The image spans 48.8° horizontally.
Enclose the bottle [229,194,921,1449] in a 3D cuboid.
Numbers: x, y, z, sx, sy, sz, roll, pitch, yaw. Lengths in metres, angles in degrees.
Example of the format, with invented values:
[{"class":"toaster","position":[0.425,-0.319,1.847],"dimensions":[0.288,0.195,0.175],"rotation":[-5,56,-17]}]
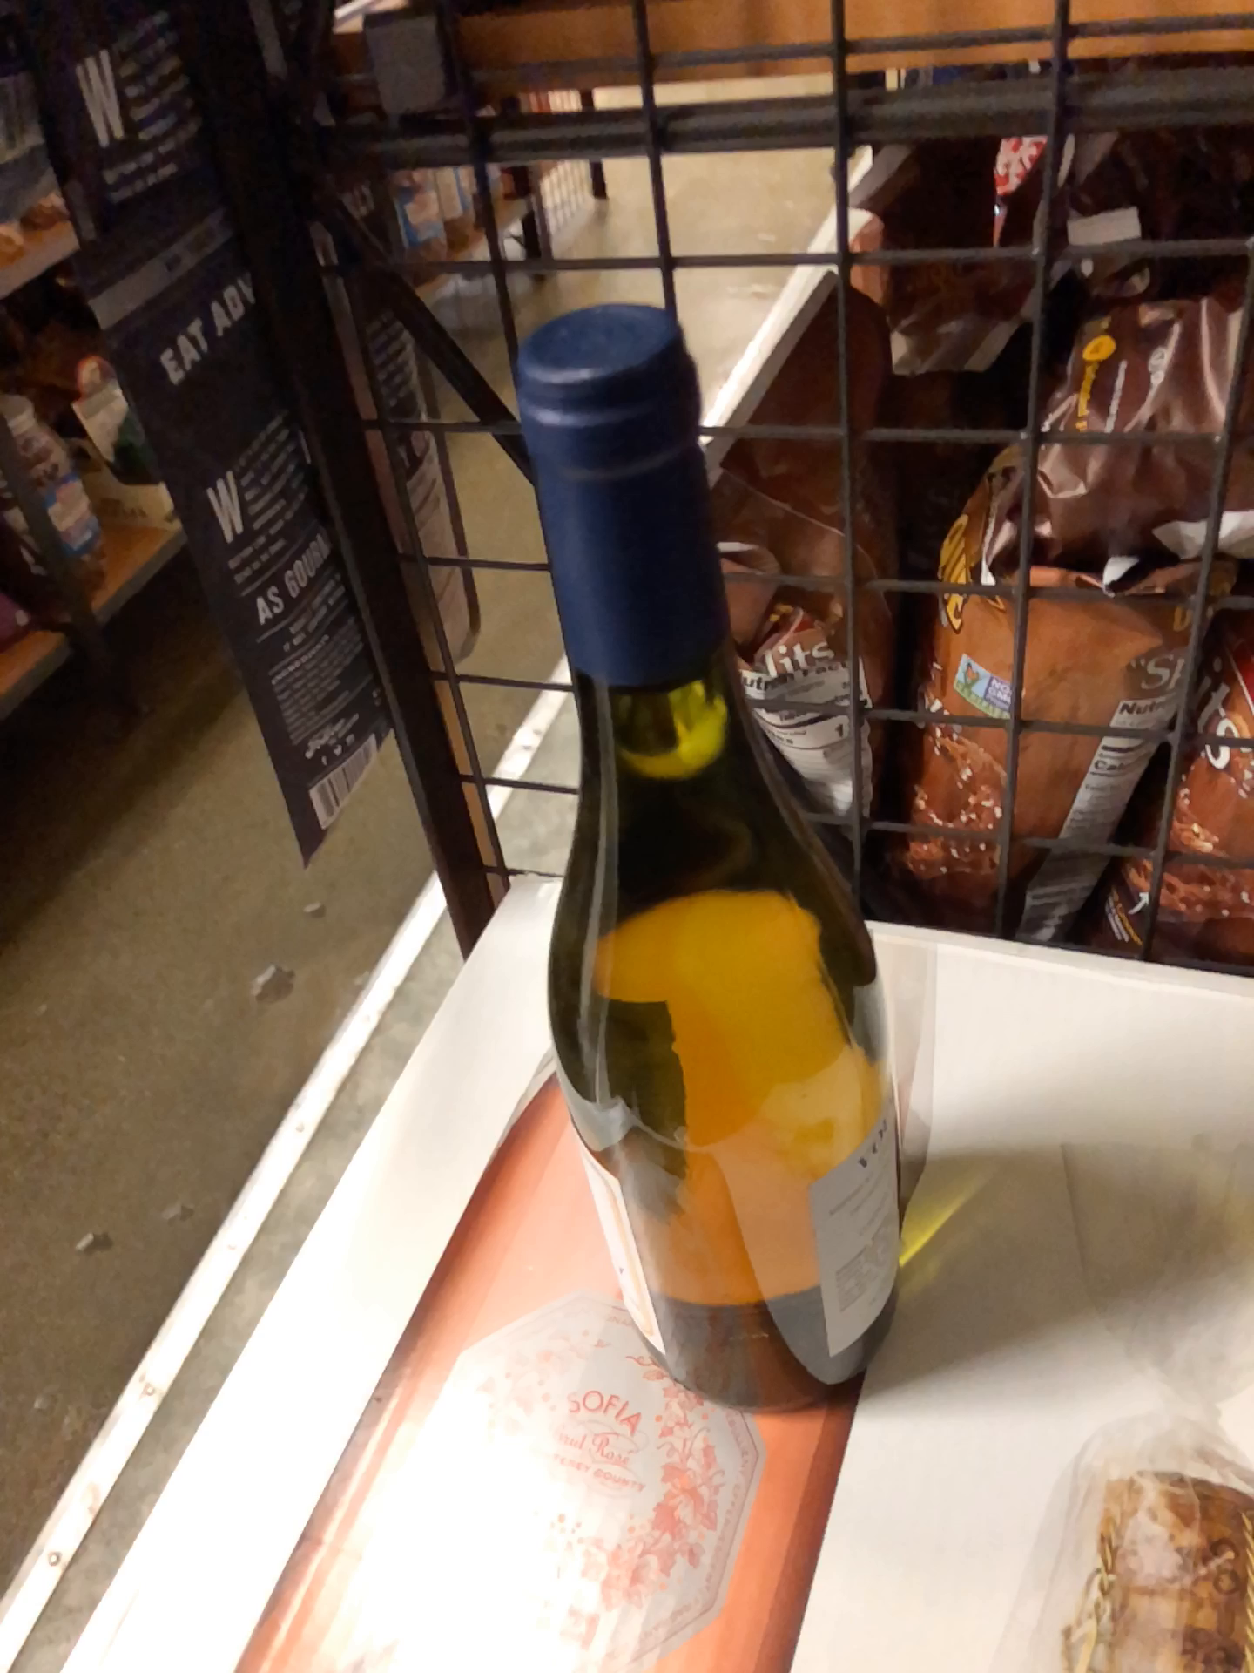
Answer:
[{"class":"bottle","position":[0.013,0.019,0.308],"dimensions":[0.084,0.281,0.084],"rotation":[-6,41,5]}]
